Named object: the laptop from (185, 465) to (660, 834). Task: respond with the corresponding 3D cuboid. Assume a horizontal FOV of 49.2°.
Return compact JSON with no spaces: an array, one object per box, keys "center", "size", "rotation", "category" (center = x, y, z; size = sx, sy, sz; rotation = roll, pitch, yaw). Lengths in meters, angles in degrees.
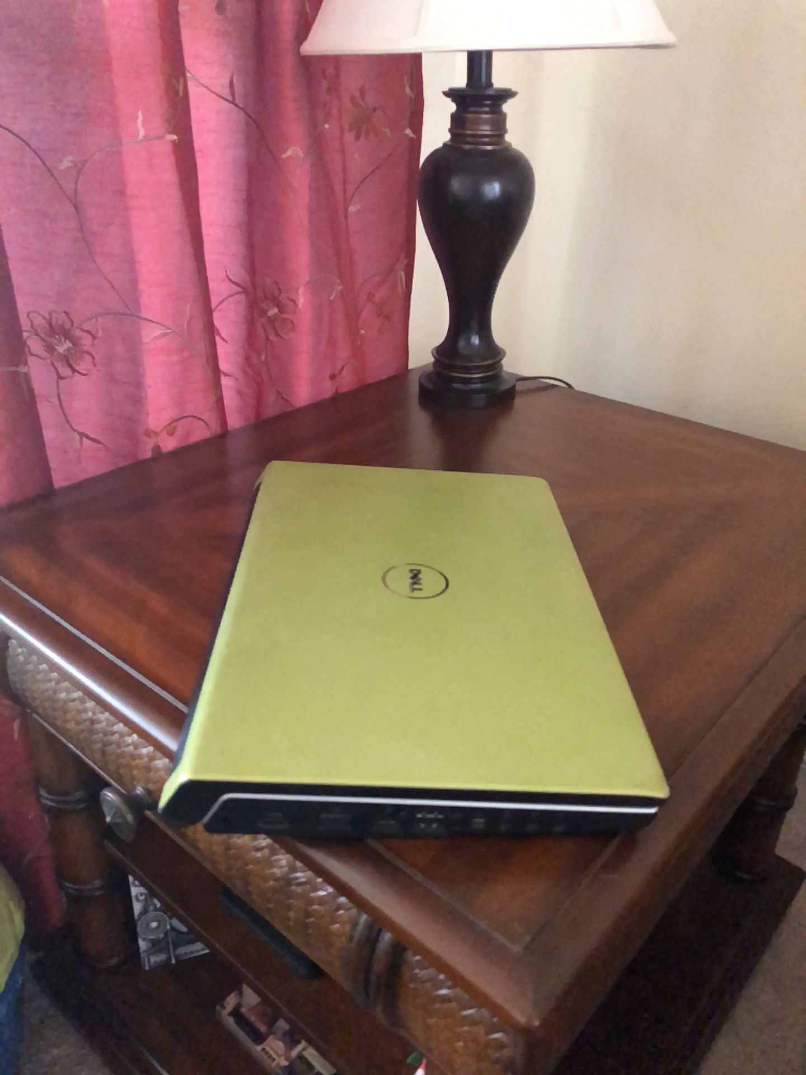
[{"center":[0.007,0.045,0.607],"size":[0.236,0.020,0.380],"rotation":[4,28,-4],"category":"laptop"}]
